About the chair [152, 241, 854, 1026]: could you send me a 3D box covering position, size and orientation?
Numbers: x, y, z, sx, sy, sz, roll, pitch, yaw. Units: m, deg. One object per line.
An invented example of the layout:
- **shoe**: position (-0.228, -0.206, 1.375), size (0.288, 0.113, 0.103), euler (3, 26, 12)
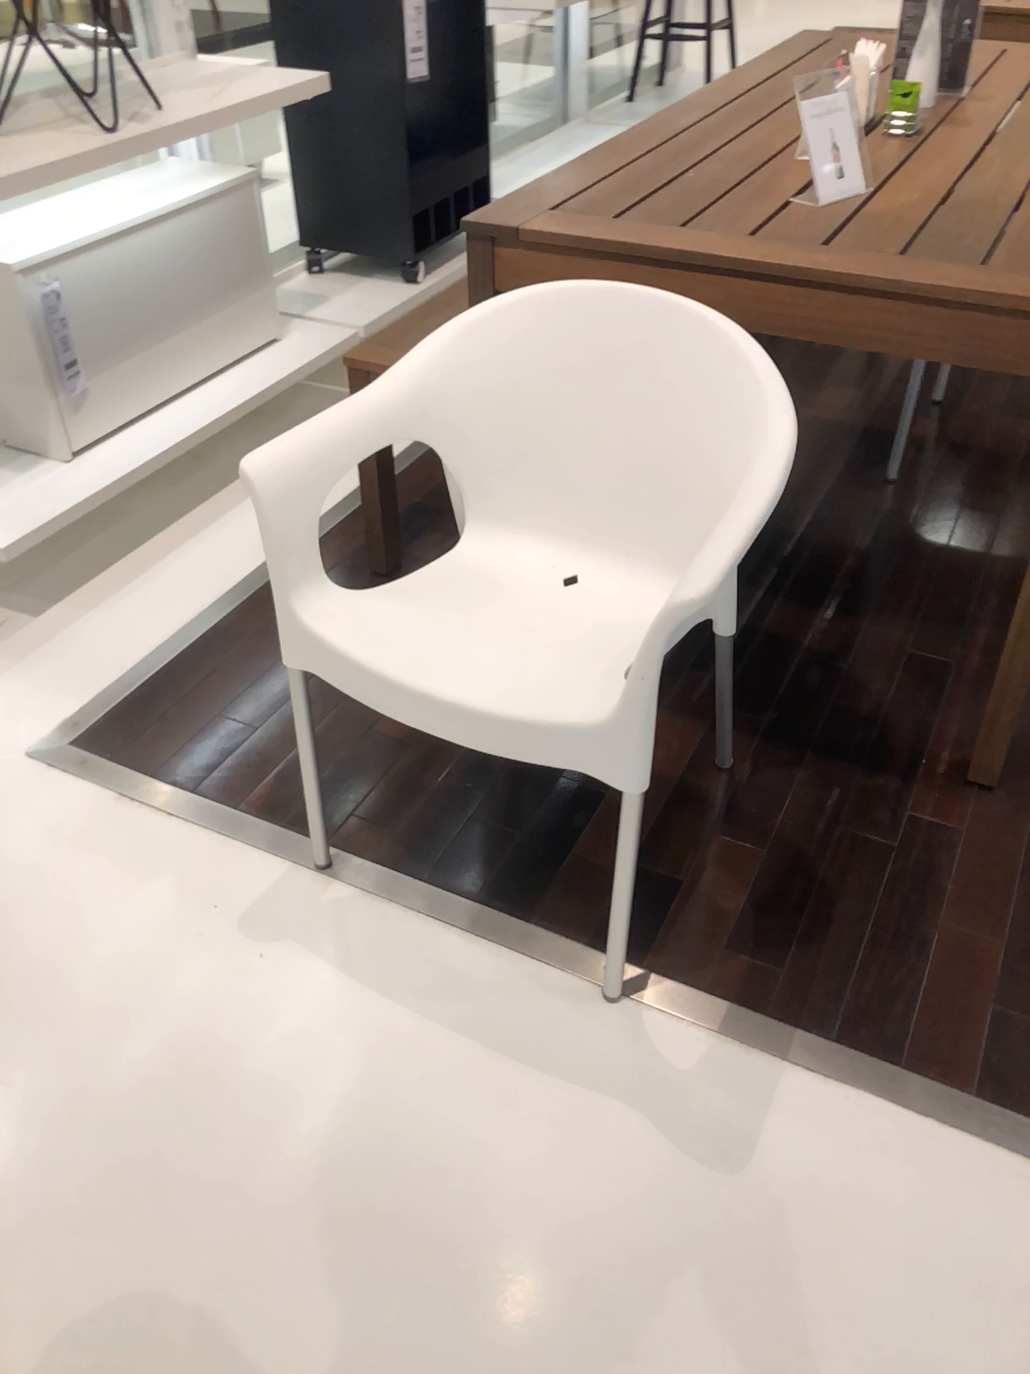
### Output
- **chair**: position (0.020, -0.102, 1.468), size (0.581, 0.704, 0.563), euler (17, 42, 23)
